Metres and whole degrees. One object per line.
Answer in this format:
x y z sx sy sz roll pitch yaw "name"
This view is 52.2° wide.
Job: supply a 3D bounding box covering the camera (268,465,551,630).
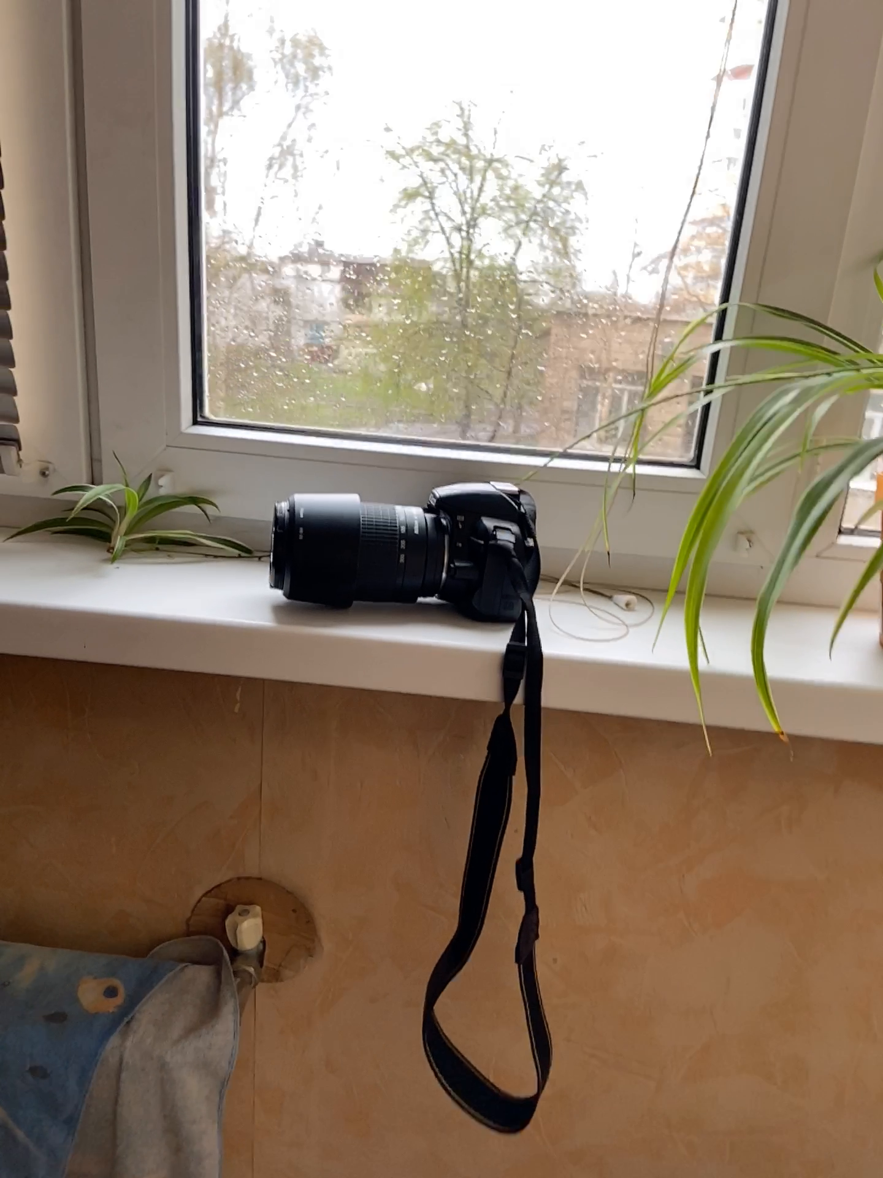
-0.032 -0.033 0.682 0.190 0.089 0.126 1 19 -13 "camera"
